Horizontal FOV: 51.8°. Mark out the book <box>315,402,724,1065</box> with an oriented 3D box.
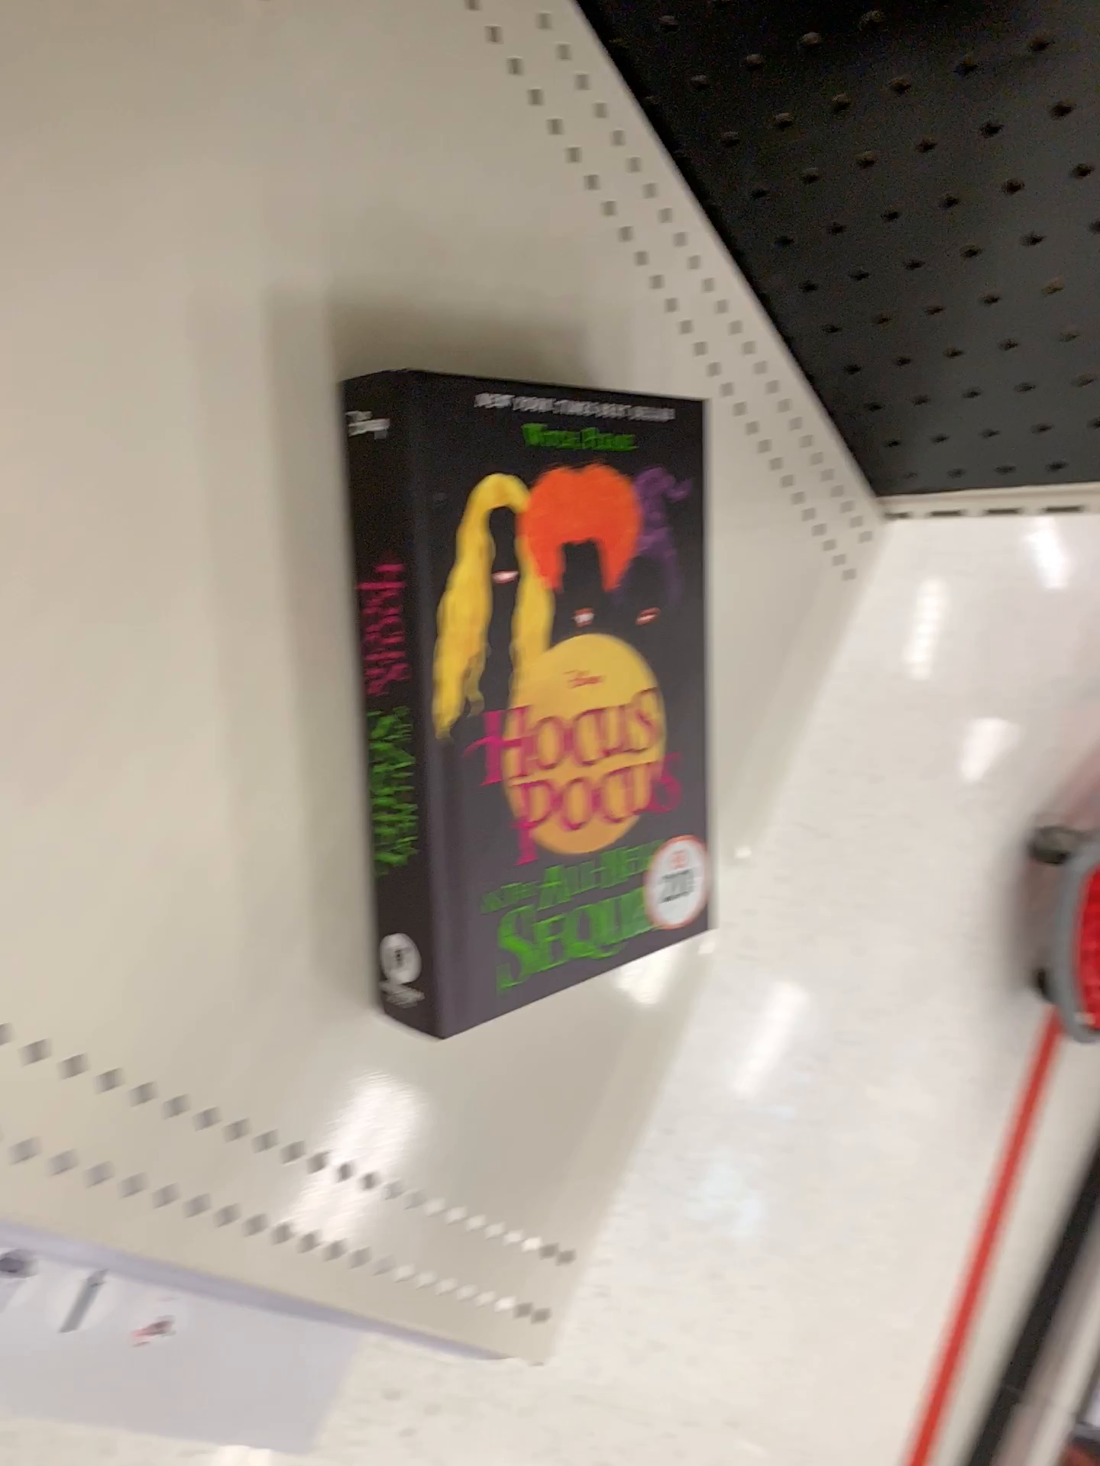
[{"bbox_3d":[-0.002,-0.008,0.420,0.149,0.050,0.209,-12,104,-43],"label":"book"}]
